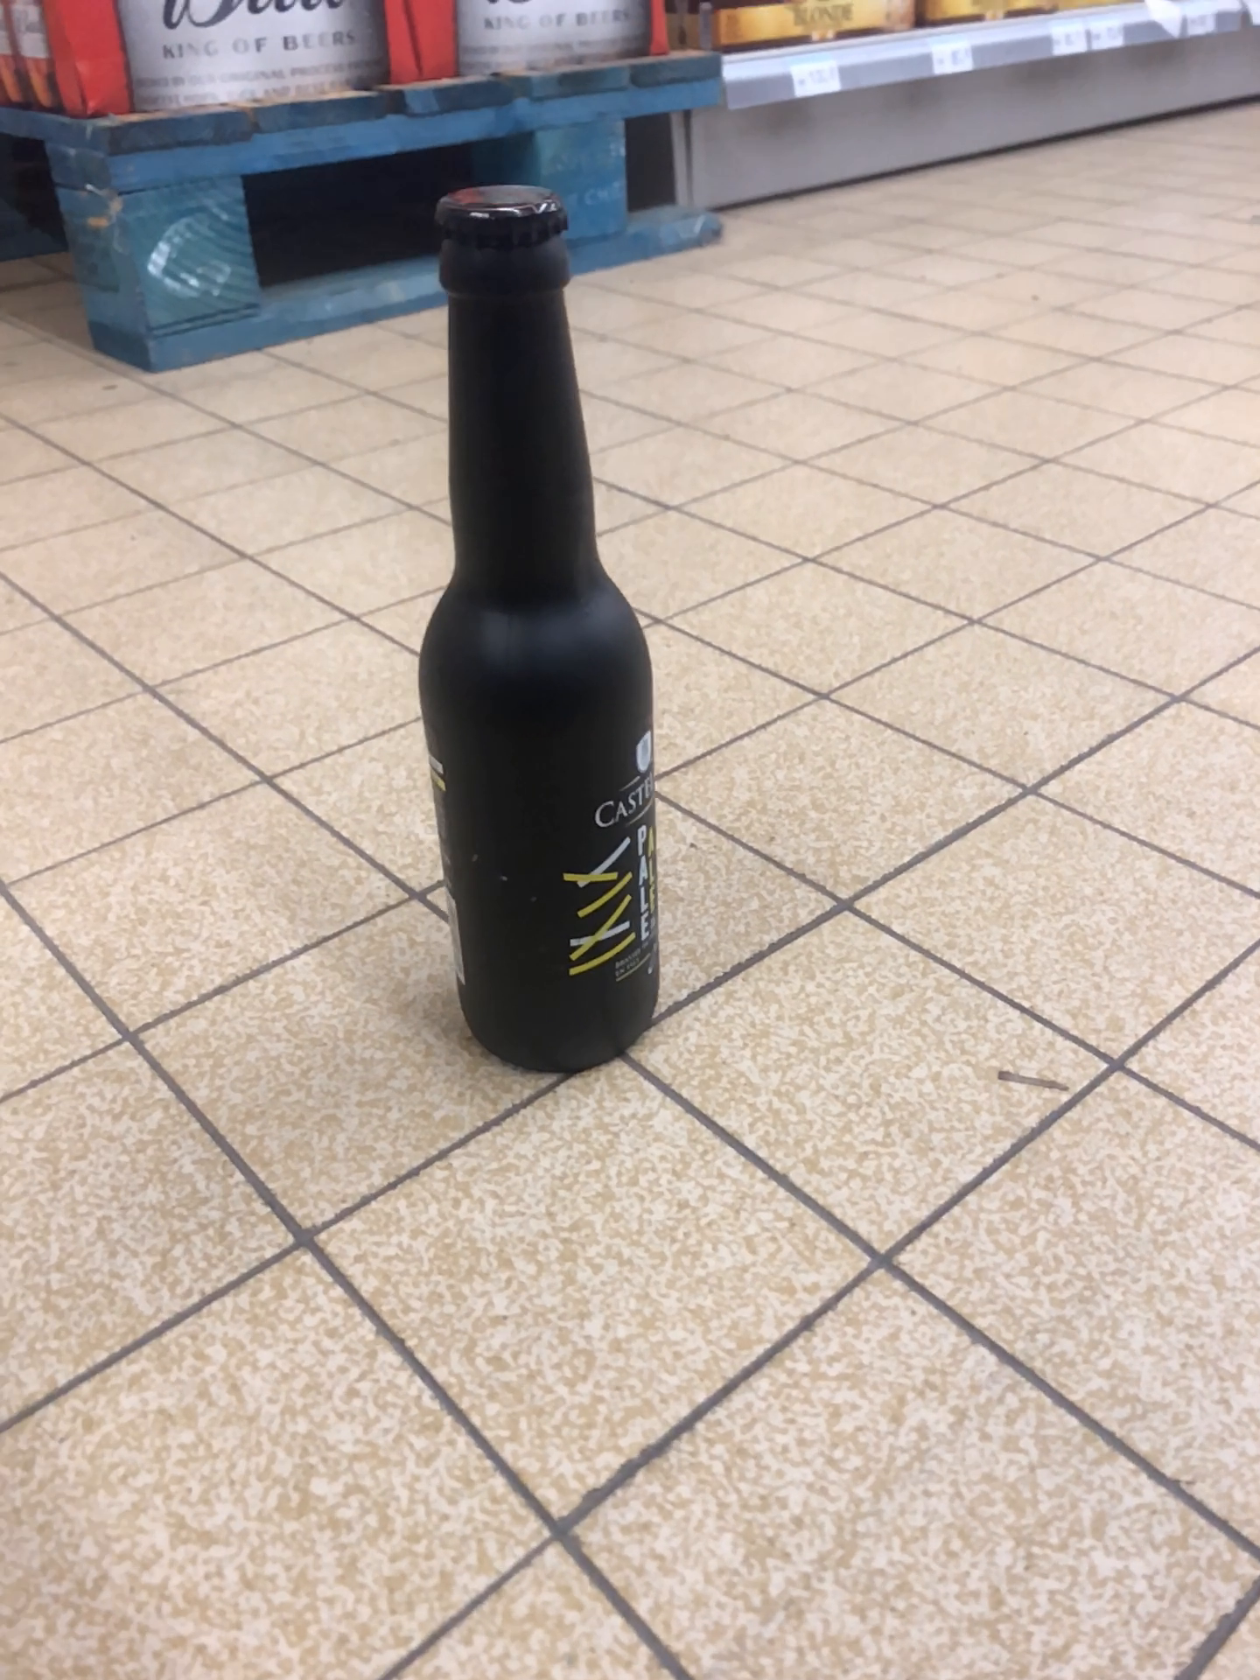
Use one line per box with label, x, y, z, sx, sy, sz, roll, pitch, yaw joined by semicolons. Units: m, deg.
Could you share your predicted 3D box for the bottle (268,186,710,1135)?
bottle;-0.022;-0.037;0.346;0.070;0.219;0.070;-2;33;1
